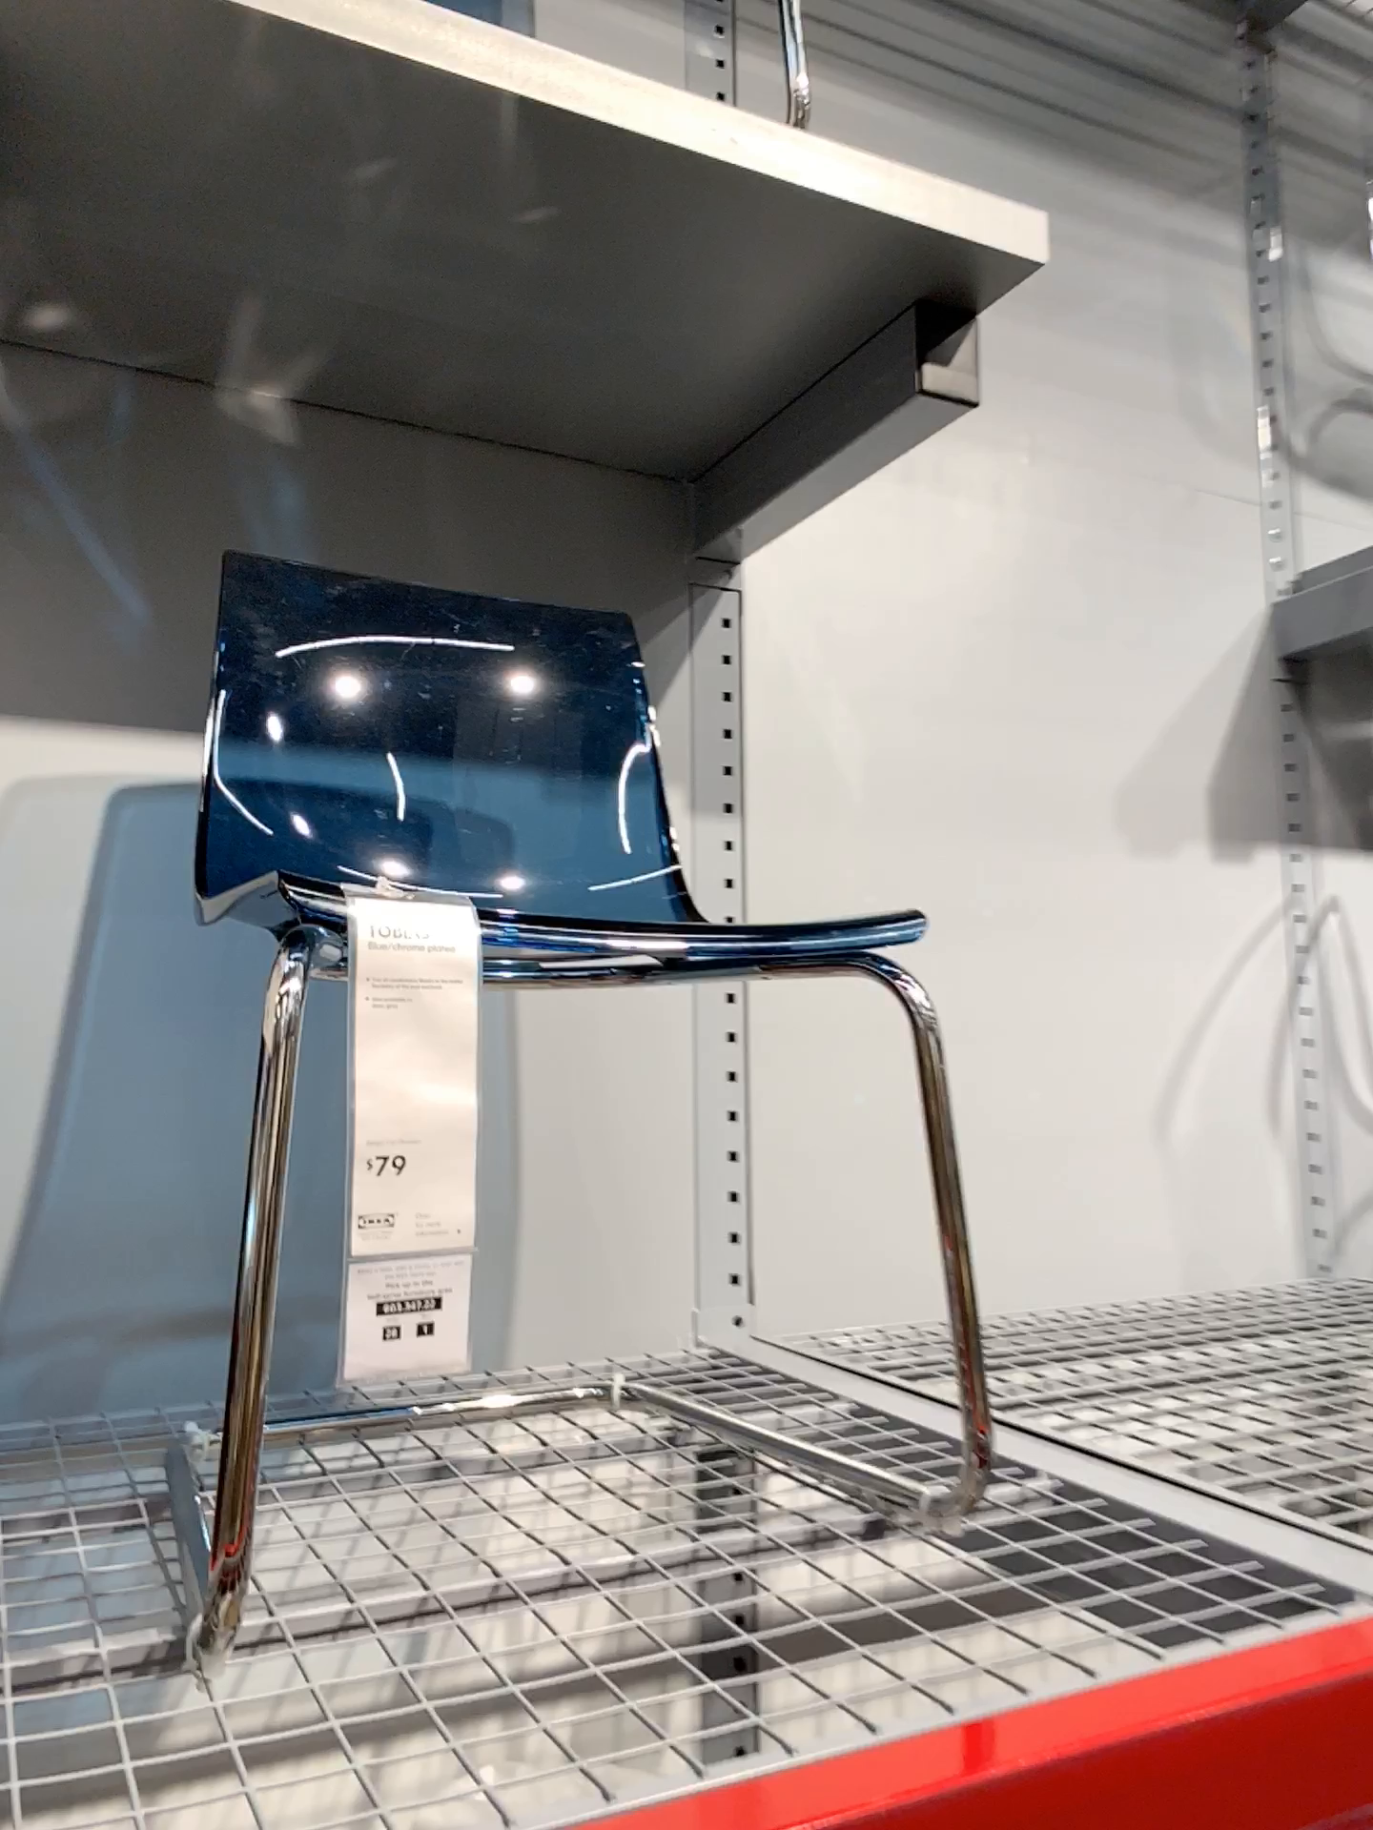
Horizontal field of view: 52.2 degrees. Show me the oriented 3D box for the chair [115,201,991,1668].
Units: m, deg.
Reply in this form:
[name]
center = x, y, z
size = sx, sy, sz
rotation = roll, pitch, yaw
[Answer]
[chair]
center = -0.149, 0.023, 1.158
size = 0.530, 0.842, 0.549
rotation = 3, -8, -25
